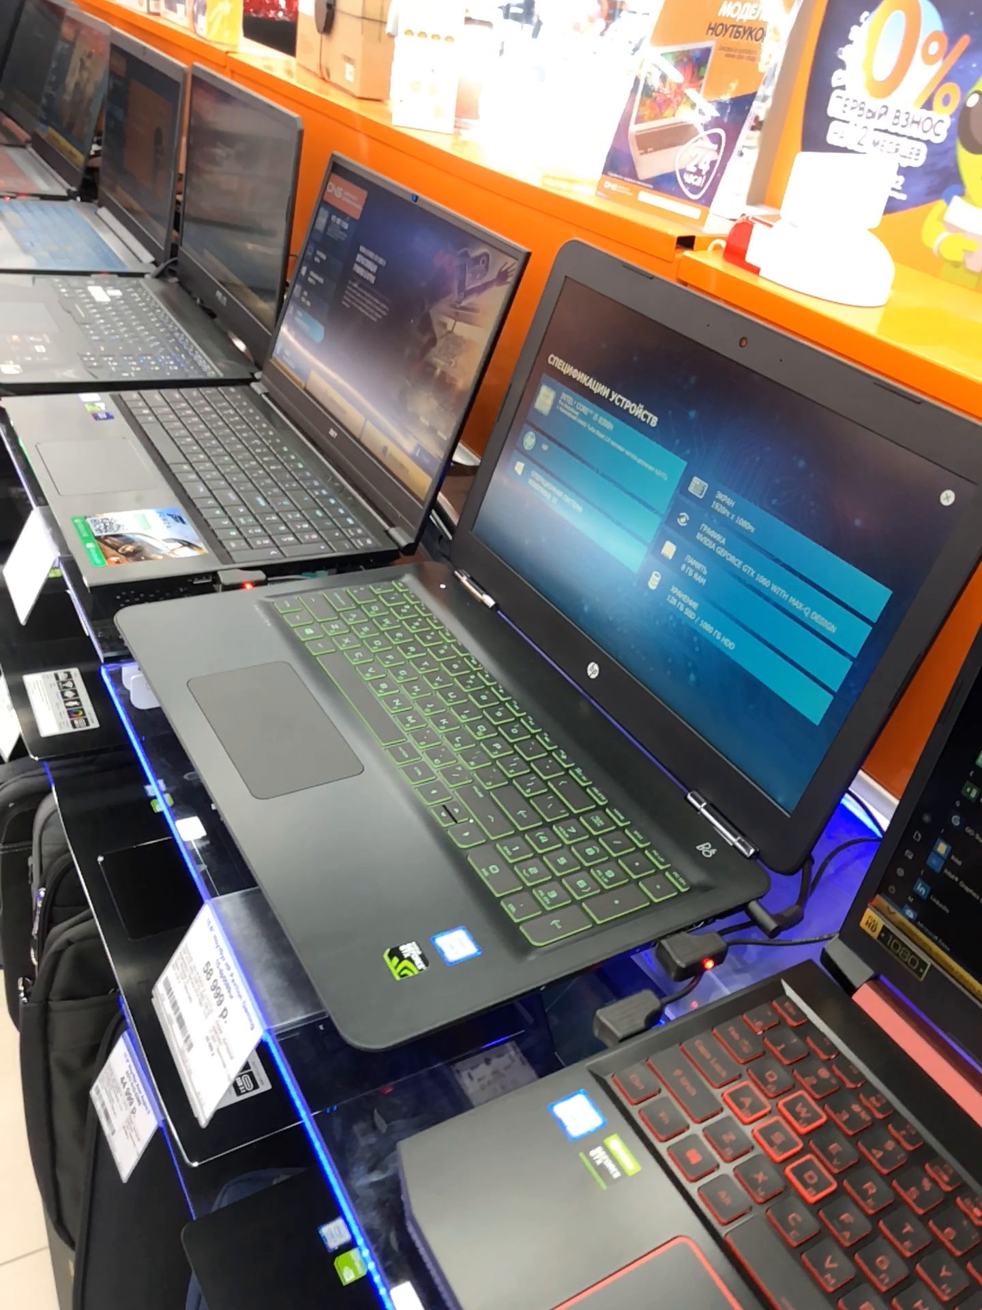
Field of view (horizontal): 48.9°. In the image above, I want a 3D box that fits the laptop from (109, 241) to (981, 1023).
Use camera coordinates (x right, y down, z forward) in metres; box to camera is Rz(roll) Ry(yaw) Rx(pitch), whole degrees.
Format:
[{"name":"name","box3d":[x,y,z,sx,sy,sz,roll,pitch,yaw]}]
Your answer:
[{"name":"laptop","box3d":[-0.002,-0.060,0.598,0.312,0.235,0.358,-10,36,-31]}]
